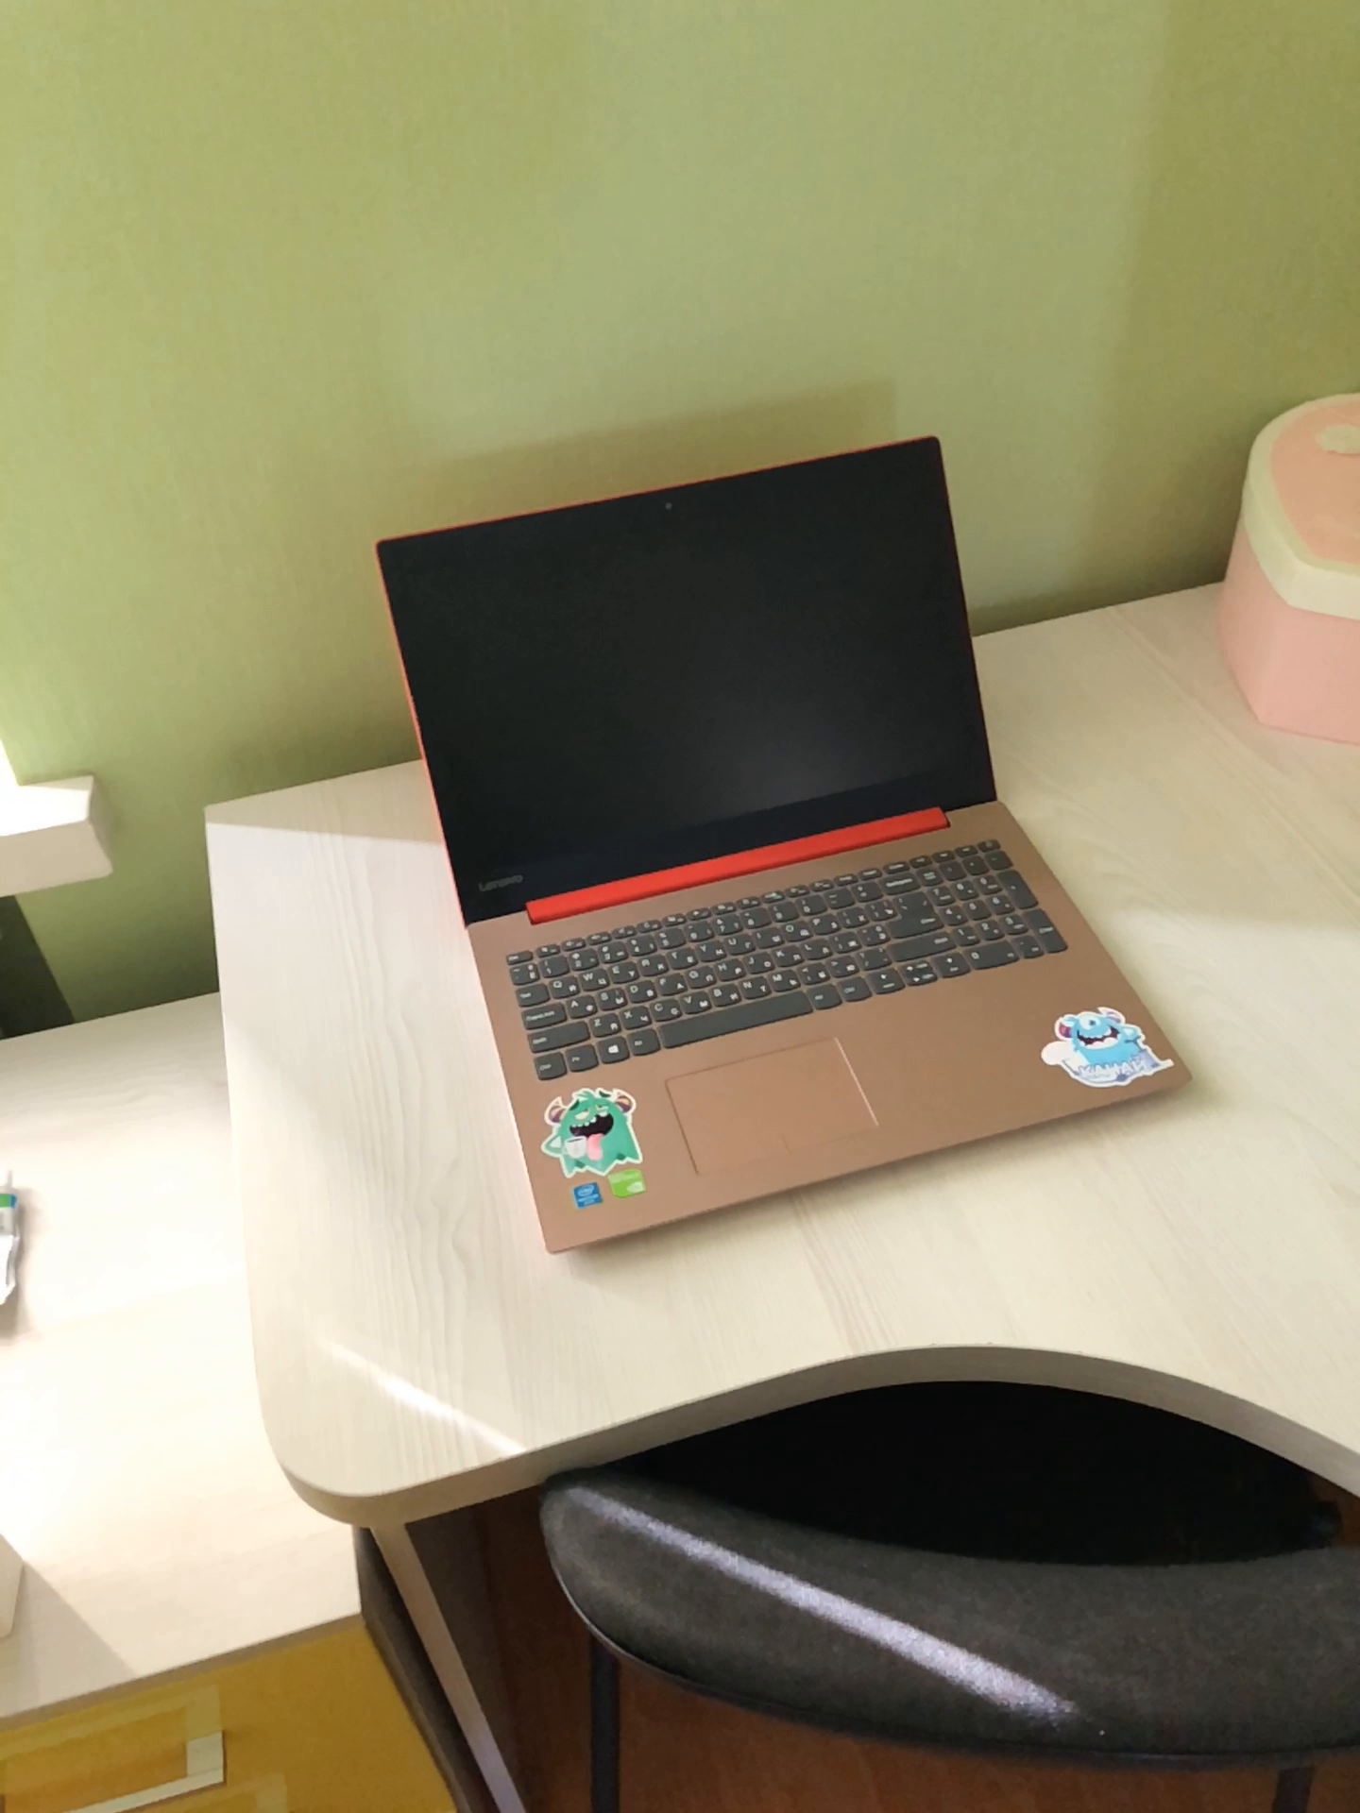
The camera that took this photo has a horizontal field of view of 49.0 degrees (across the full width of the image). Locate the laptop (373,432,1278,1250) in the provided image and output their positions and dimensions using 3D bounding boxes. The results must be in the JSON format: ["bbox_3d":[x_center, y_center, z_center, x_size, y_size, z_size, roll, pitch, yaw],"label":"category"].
[{"bbox_3d":[0.052,-0.067,0.884,0.375,0.198,0.403,-13,45,-10],"label":"laptop"}]
